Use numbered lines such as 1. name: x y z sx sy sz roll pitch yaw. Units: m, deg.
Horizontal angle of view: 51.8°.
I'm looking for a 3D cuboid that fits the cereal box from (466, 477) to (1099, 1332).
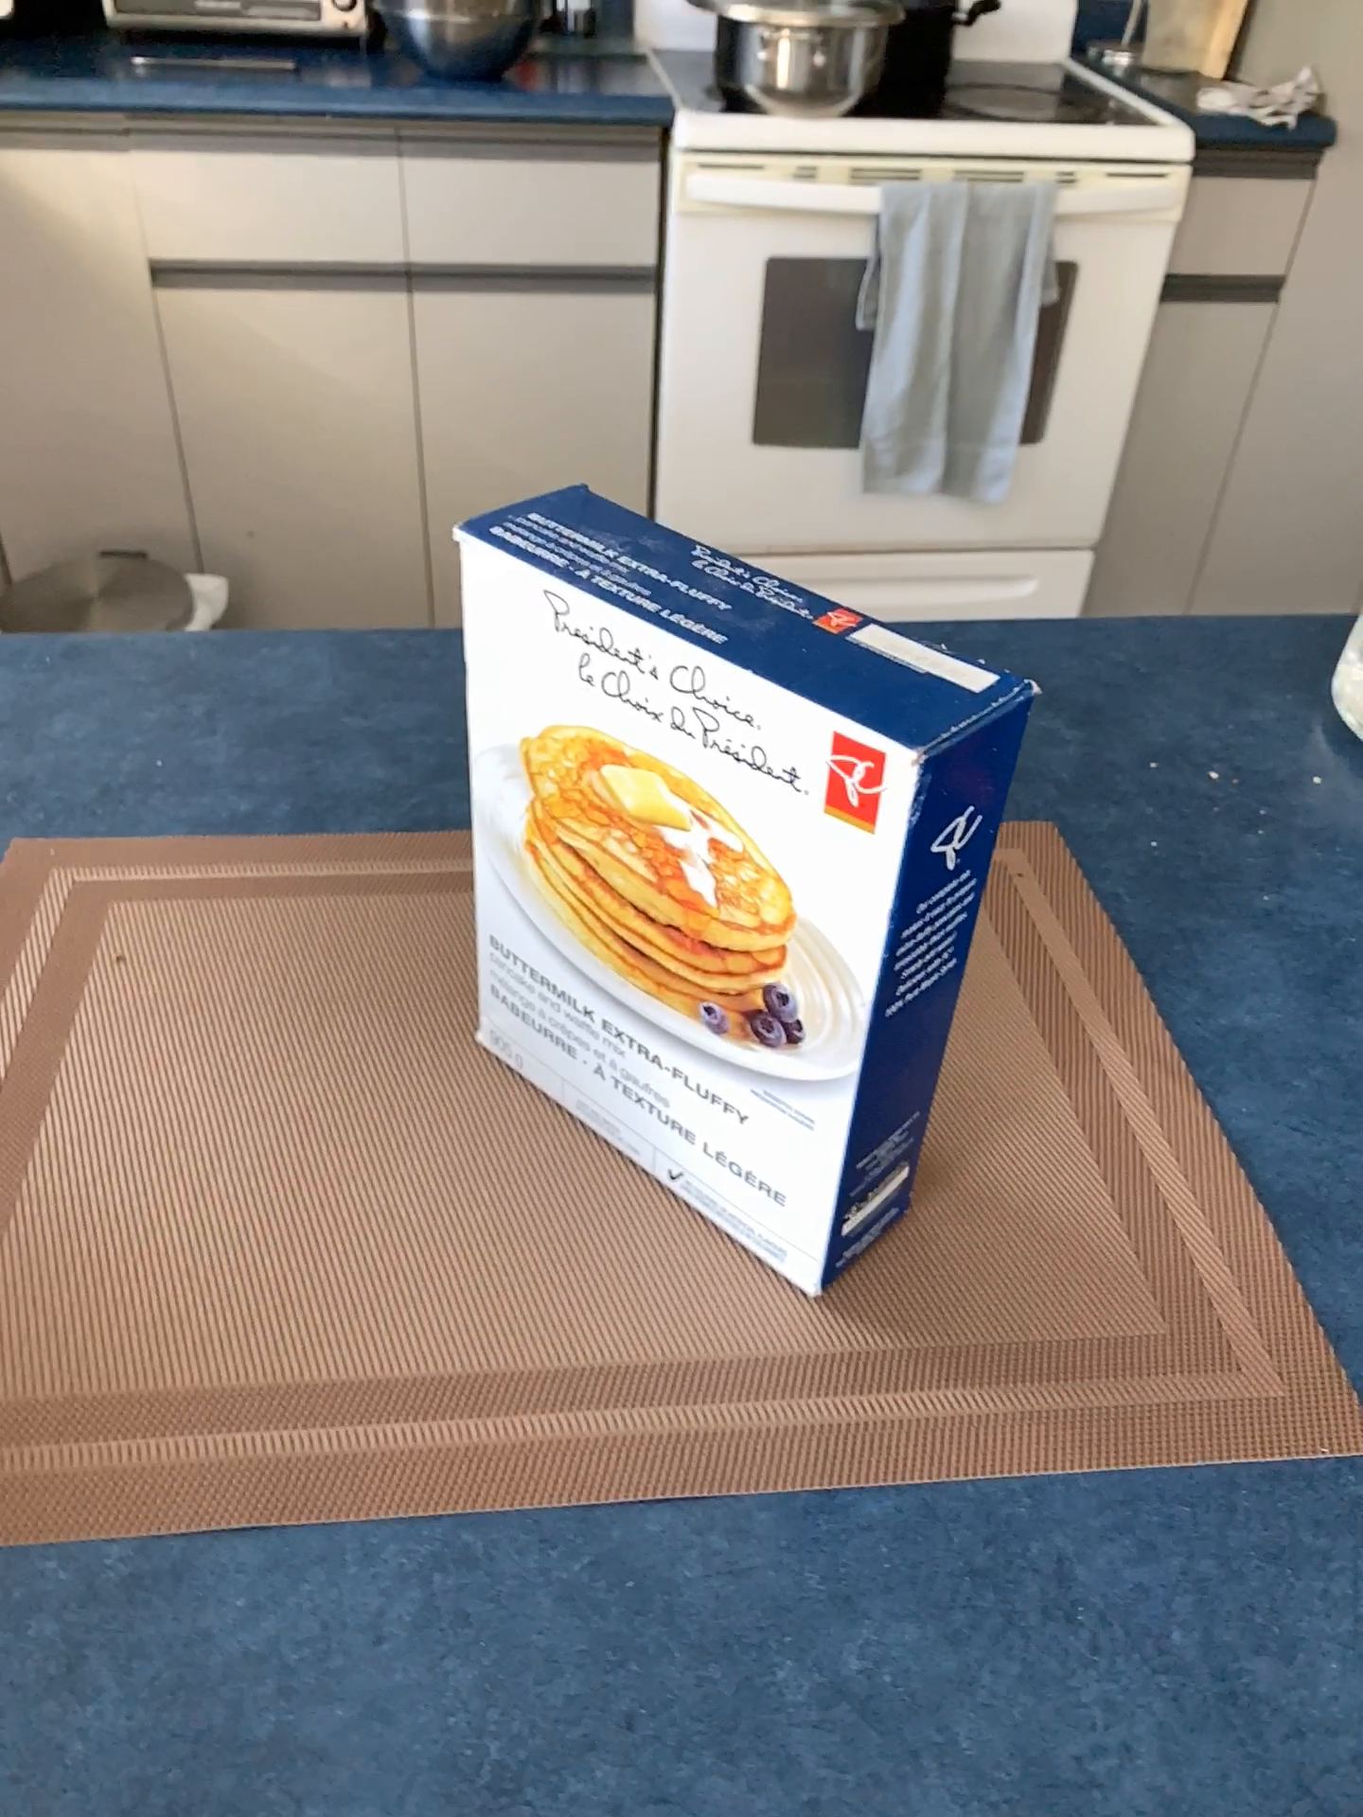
1. cereal box: 0.015 0.001 0.429 0.171 0.208 0.050 31 46 30
